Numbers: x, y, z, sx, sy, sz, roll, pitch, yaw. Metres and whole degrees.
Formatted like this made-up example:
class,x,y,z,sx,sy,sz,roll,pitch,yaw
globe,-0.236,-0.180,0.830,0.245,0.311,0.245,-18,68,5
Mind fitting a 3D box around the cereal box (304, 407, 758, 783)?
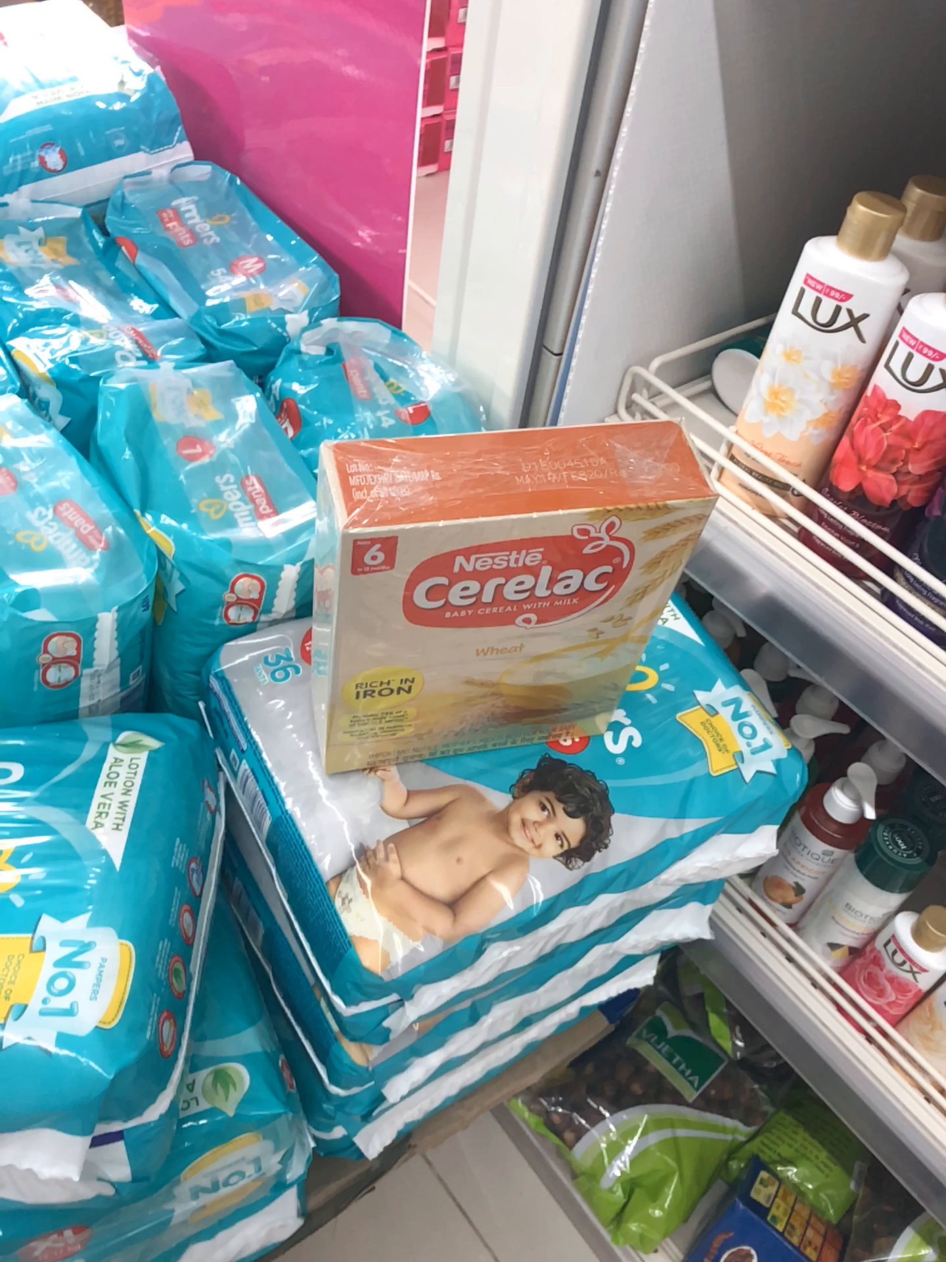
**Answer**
class,x,y,z,sx,sy,sz,roll,pitch,yaw
cereal box,0.012,-0.009,0.461,0.160,0.179,0.050,-7,56,-15
